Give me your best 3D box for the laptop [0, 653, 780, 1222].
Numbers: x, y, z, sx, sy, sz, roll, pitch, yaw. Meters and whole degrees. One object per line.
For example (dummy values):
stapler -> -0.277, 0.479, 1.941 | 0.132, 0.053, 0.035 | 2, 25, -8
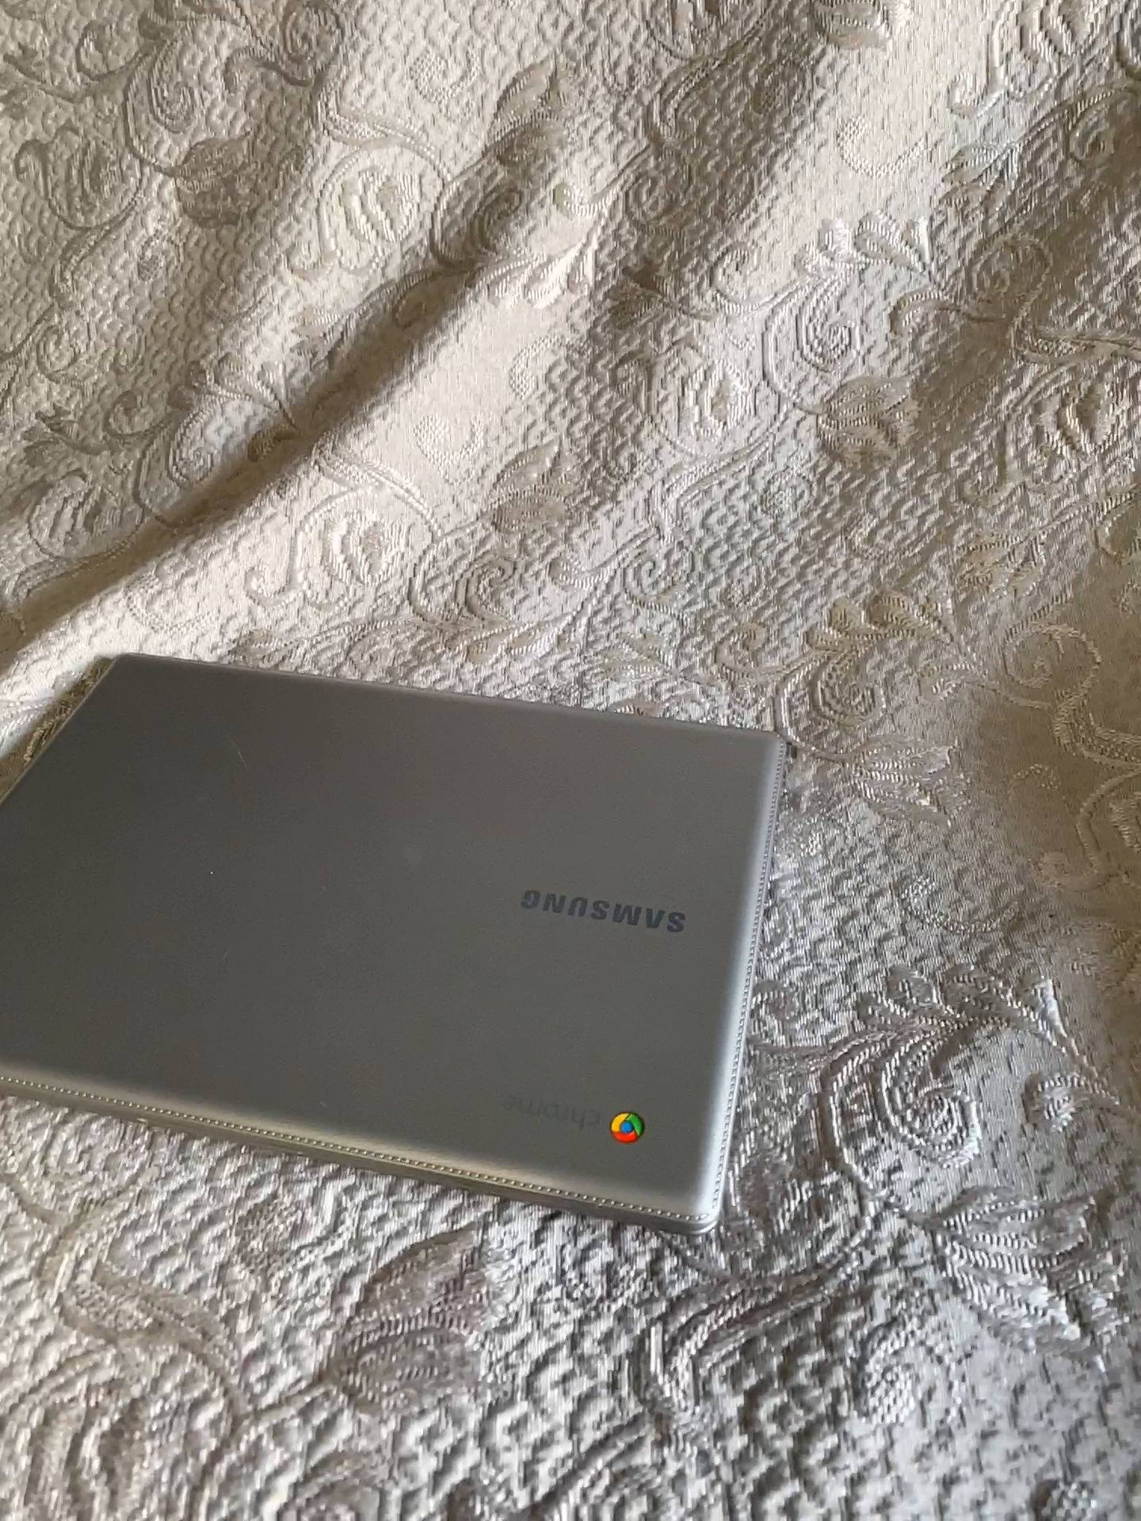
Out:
laptop -> -0.071, 0.038, 0.384 | 0.264, 0.005, 0.176 | 7, 47, 10
